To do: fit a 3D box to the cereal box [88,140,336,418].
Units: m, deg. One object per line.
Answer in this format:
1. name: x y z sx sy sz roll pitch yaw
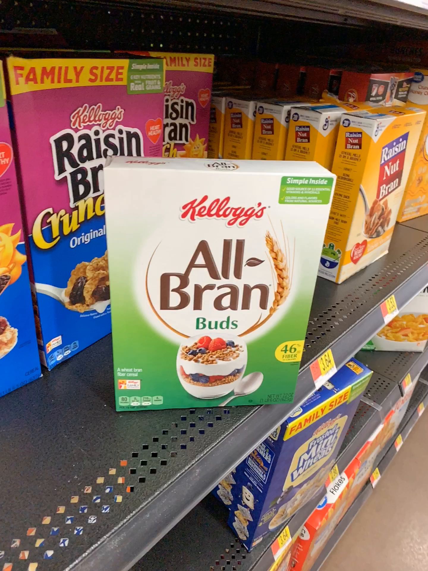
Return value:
1. cereal box: -0.009 0.006 0.415 0.190 0.259 0.050 0 28 -8
